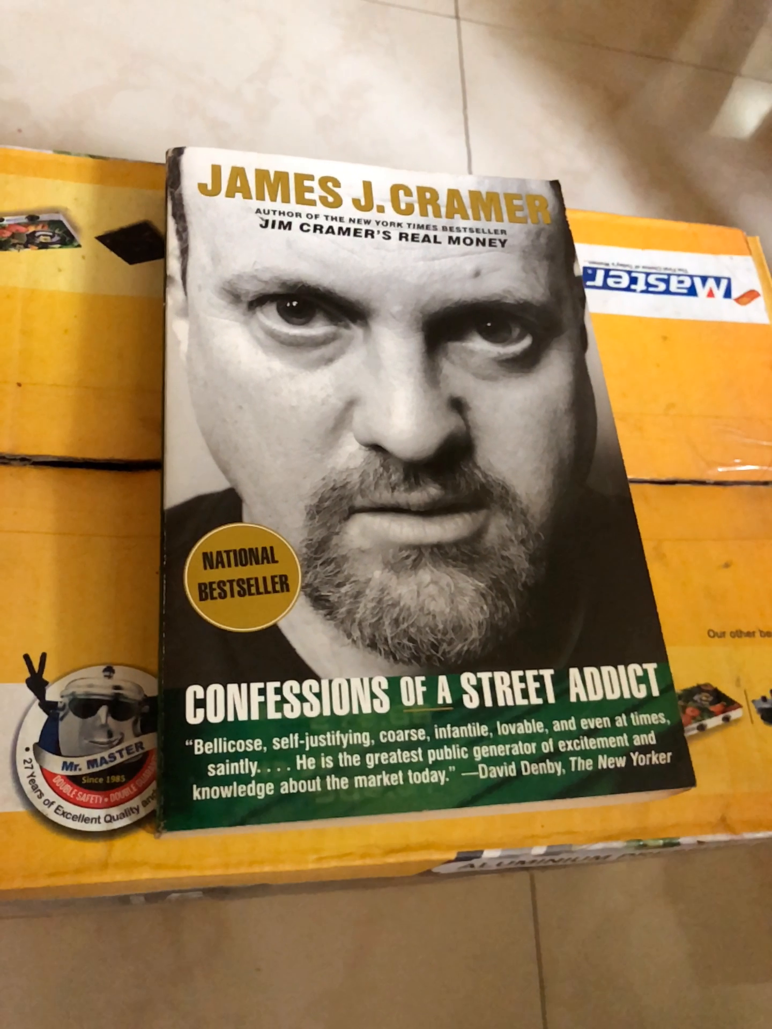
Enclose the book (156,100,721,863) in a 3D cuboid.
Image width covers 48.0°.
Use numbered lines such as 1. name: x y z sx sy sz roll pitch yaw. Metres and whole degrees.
1. book: 0.003 -0.025 0.265 0.140 0.030 0.230 0 65 -14
